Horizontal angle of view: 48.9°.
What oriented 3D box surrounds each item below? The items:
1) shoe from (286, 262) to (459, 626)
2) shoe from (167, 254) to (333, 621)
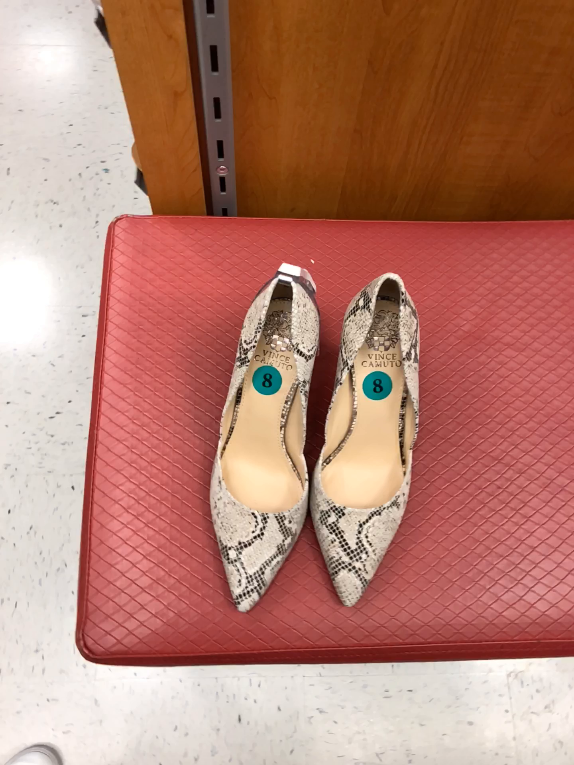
[{"bbox_3d":[0.068,0.049,0.505,0.093,0.102,0.259,9,69,0],"label":"shoe"},{"bbox_3d":[-0.023,0.046,0.502,0.092,0.112,0.262,5,69,-1],"label":"shoe"}]
